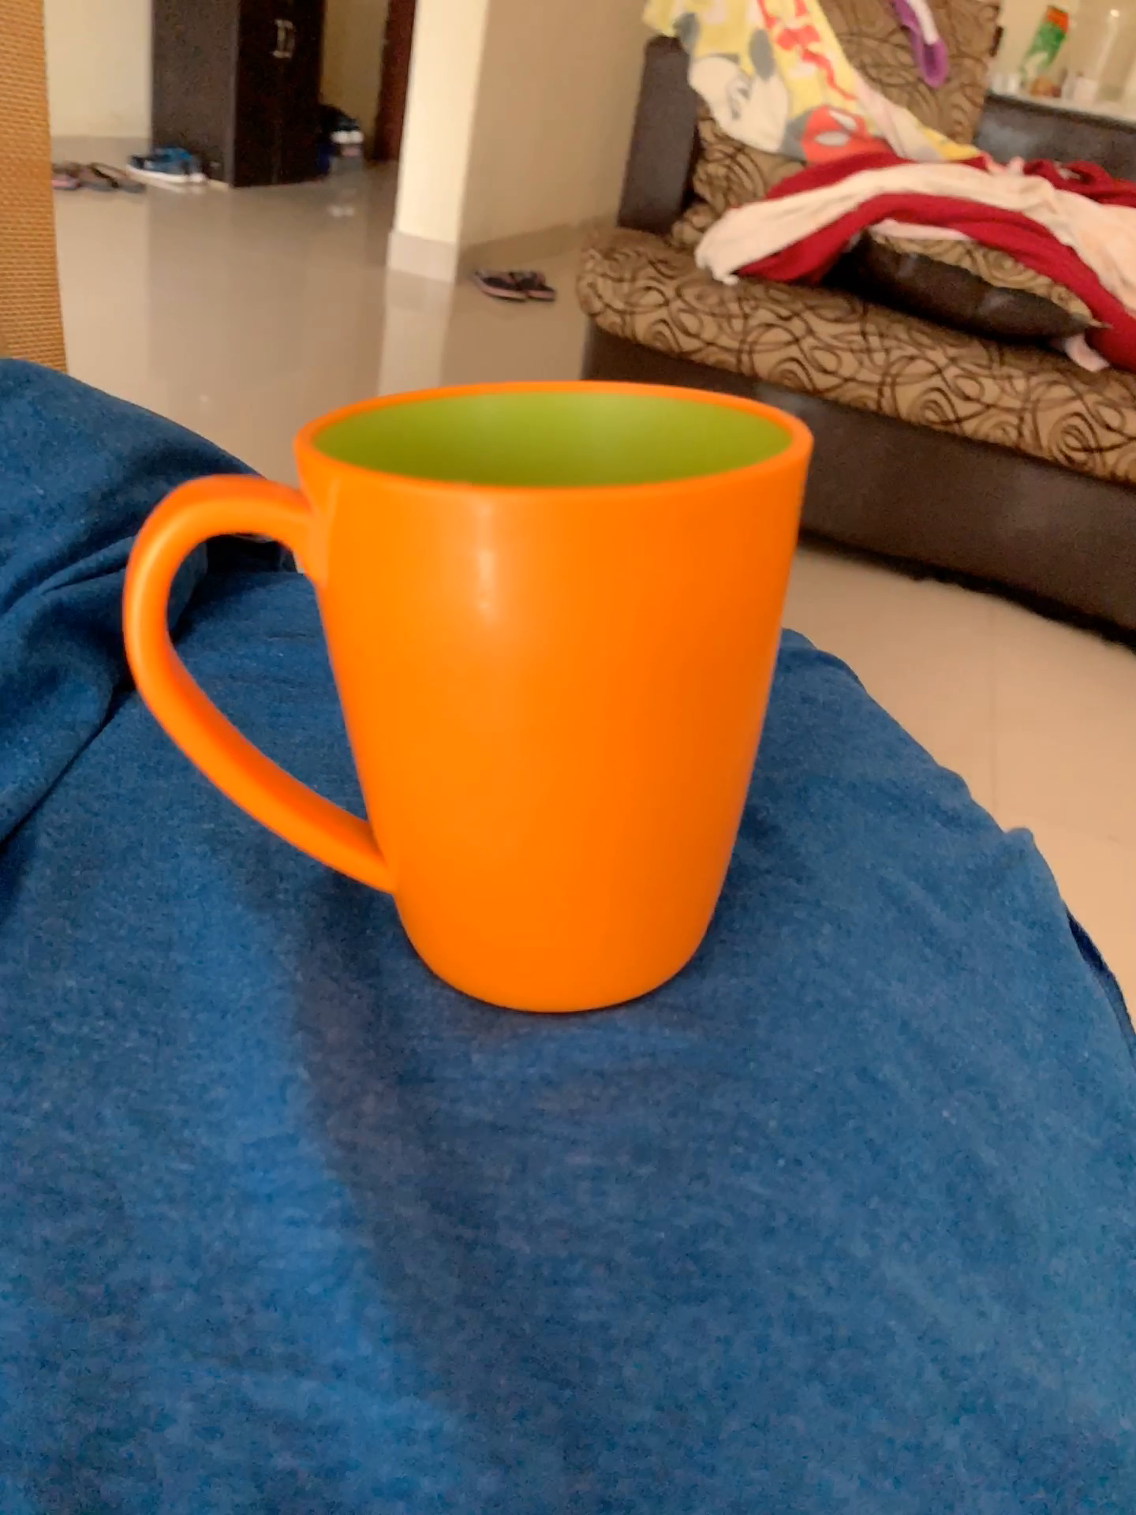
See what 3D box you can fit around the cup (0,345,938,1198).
[{"bbox_3d":[-0.018,-0.014,0.207,0.120,0.089,0.100,-18,28,-25],"label":"cup"}]
